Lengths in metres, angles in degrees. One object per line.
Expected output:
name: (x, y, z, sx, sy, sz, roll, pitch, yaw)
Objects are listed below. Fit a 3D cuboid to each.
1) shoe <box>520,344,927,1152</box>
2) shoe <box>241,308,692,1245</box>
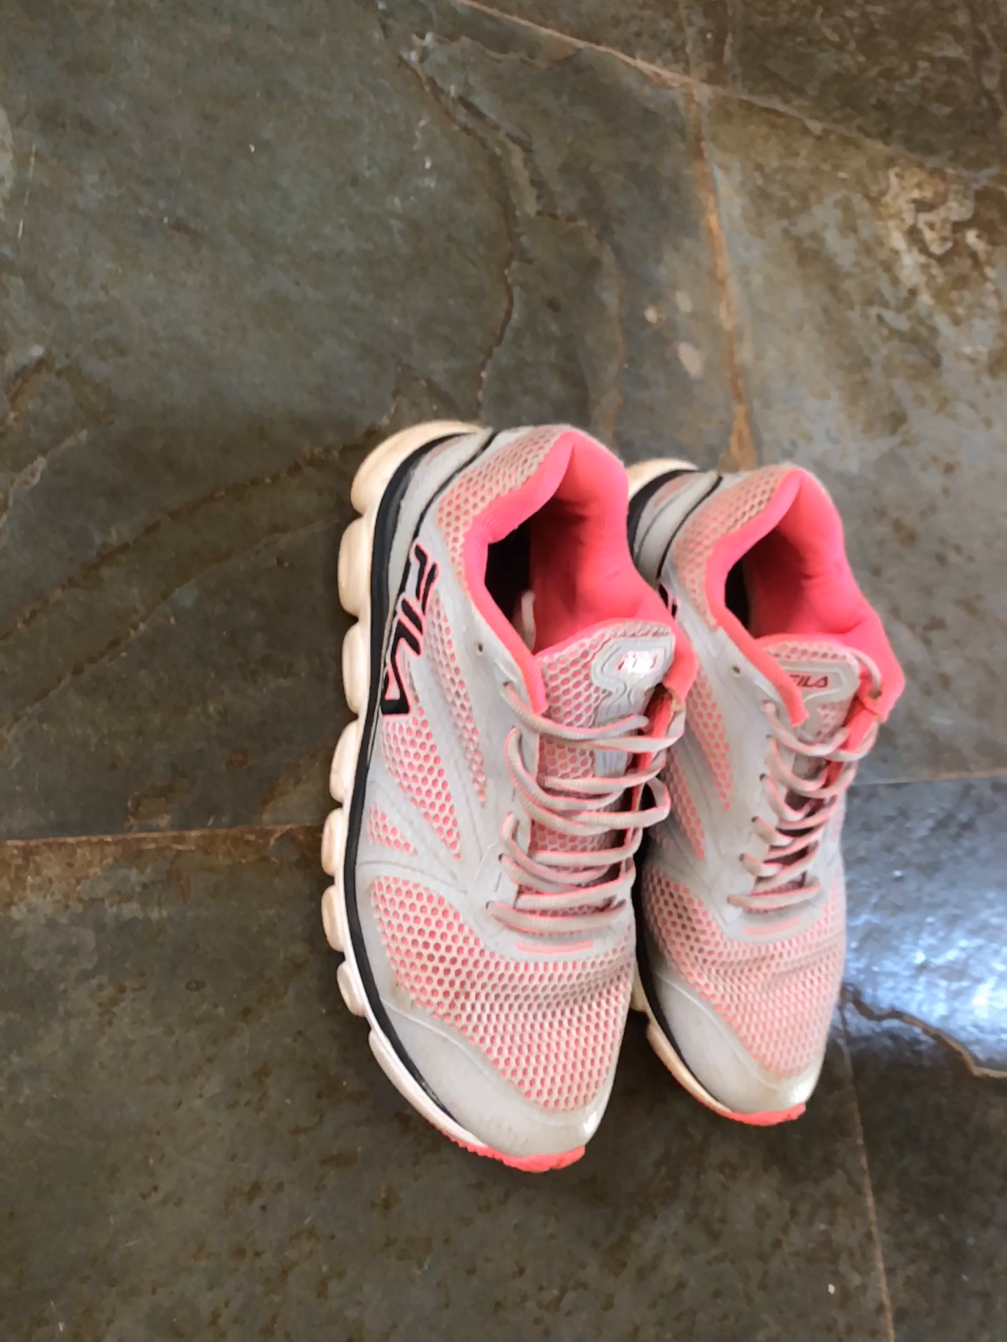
shoe: (0.084, 0.030, 0.469, 0.111, 0.099, 0.290, 4, 77, -29)
shoe: (-0.021, 0.031, 0.405, 0.111, 0.099, 0.280, 1, 79, -30)
